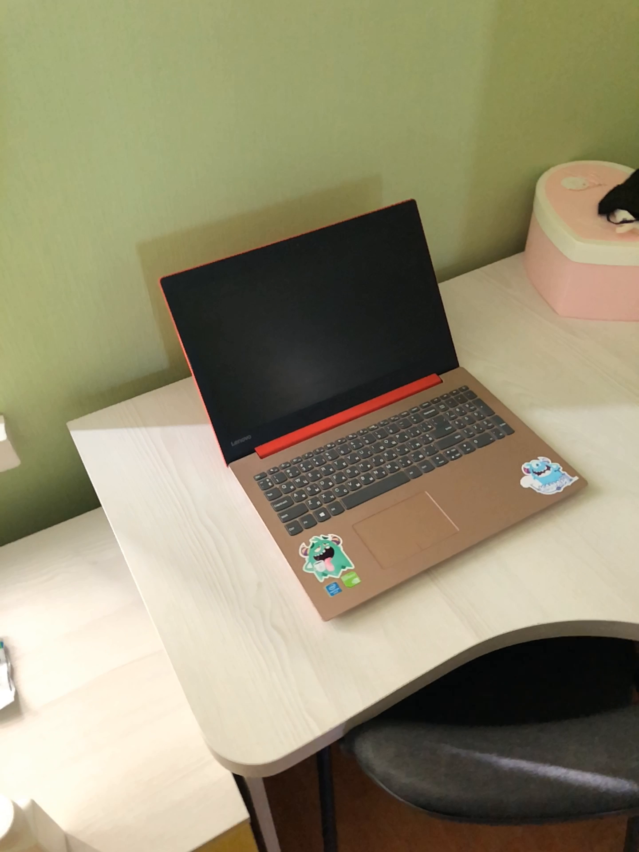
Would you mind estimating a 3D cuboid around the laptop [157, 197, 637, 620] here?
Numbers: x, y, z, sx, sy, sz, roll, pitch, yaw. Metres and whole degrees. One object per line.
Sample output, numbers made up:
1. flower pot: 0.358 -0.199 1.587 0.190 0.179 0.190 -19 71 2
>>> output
1. laptop: 0.069 -0.057 0.859 0.375 0.198 0.402 -23 49 -19
